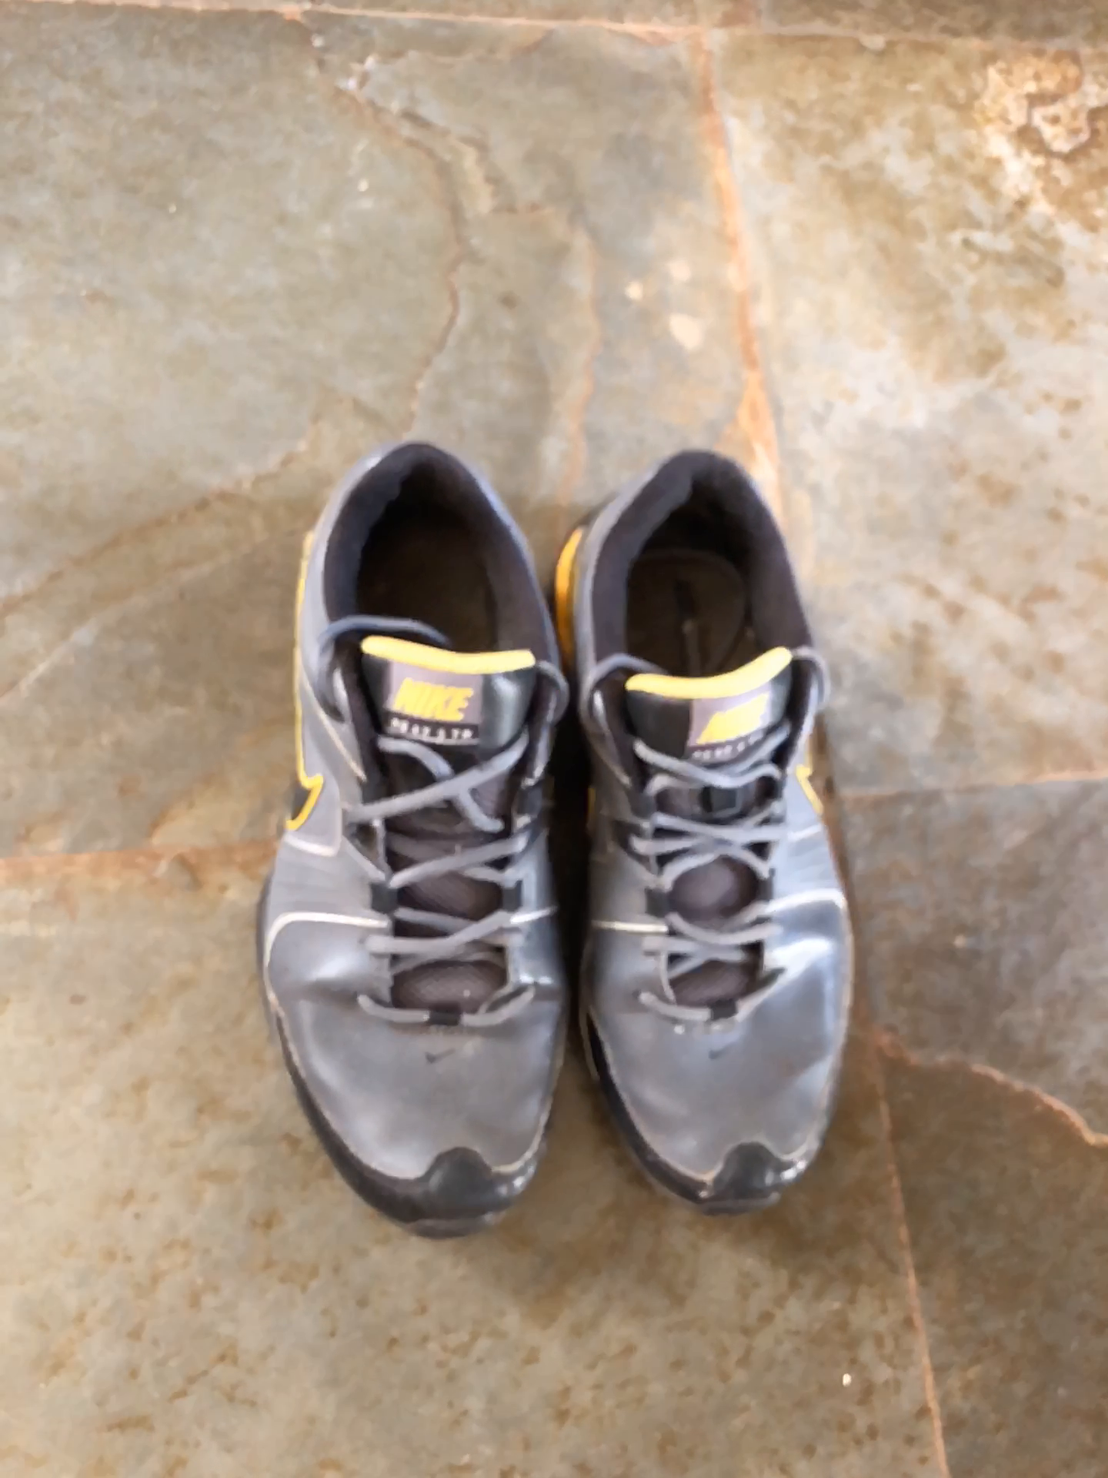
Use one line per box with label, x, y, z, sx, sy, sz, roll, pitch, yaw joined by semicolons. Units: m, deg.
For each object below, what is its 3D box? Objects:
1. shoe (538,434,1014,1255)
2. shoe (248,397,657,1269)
shoe;0.060;0.032;0.413;0.100;0.100;0.240;-2;74;-10
shoe;-0.040;0.026;0.391;0.100;0.100;0.240;-2;74;-10
